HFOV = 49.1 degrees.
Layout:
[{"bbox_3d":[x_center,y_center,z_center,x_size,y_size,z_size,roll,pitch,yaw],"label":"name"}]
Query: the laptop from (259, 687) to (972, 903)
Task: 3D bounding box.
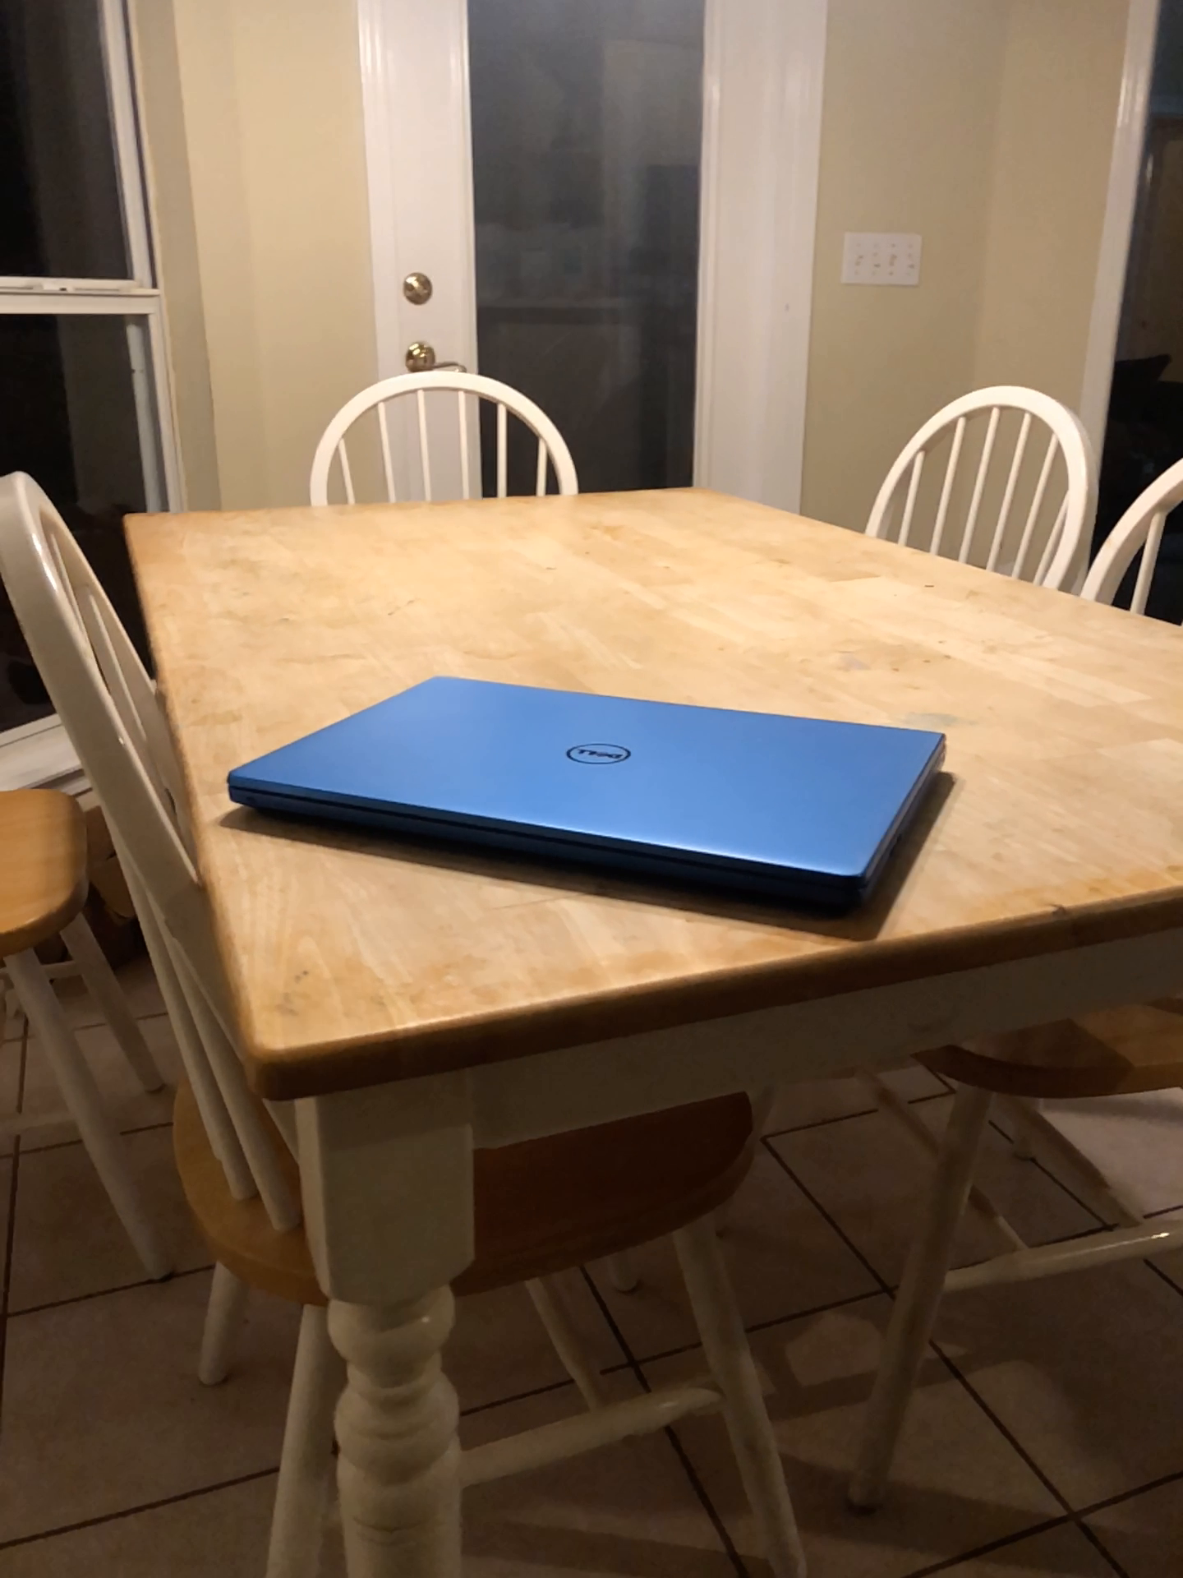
[{"bbox_3d":[0.026,-0.011,0.832,0.388,0.001,0.260,8,22,22],"label":"laptop"}]
